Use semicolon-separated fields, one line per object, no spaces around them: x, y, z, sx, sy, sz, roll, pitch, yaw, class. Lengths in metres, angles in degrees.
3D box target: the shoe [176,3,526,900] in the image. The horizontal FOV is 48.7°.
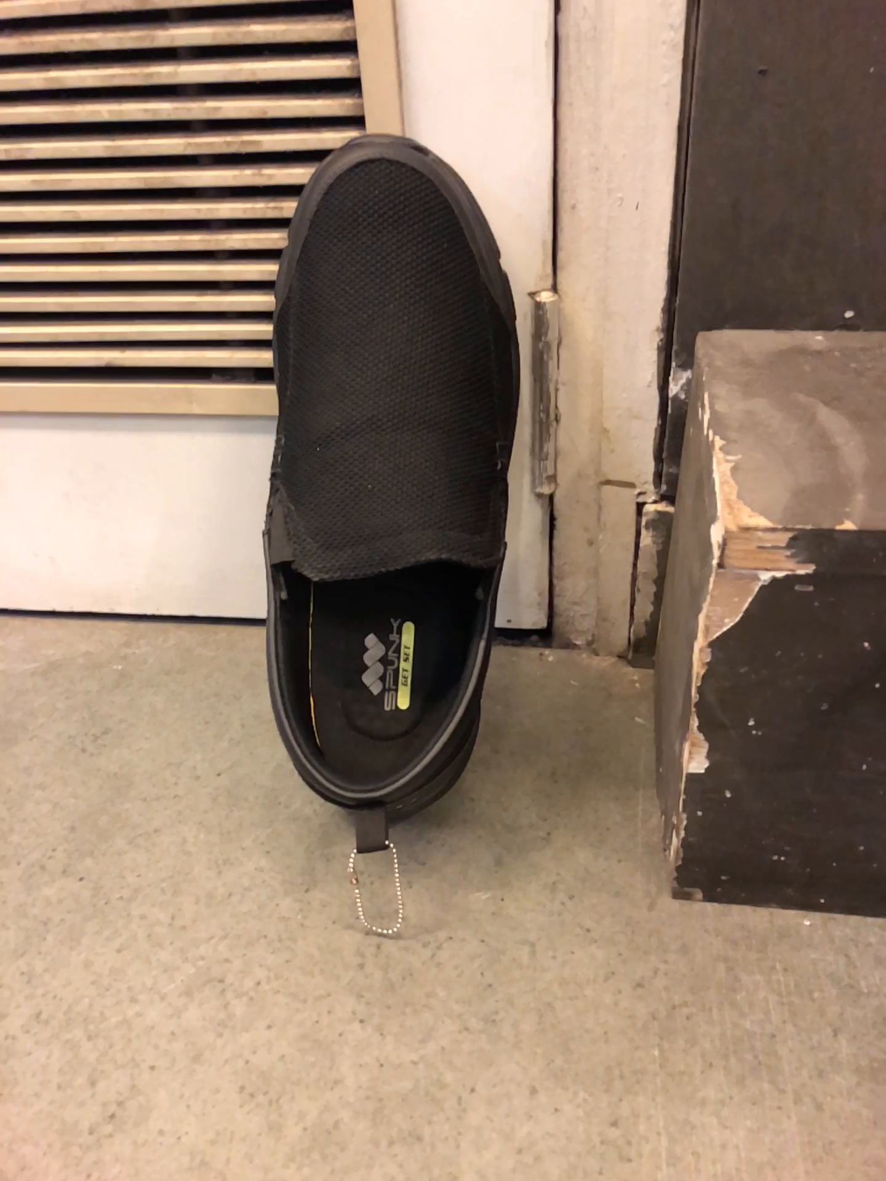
-0.025;-0.046;0.389;0.111;0.292;0.127;0;3;5;shoe
